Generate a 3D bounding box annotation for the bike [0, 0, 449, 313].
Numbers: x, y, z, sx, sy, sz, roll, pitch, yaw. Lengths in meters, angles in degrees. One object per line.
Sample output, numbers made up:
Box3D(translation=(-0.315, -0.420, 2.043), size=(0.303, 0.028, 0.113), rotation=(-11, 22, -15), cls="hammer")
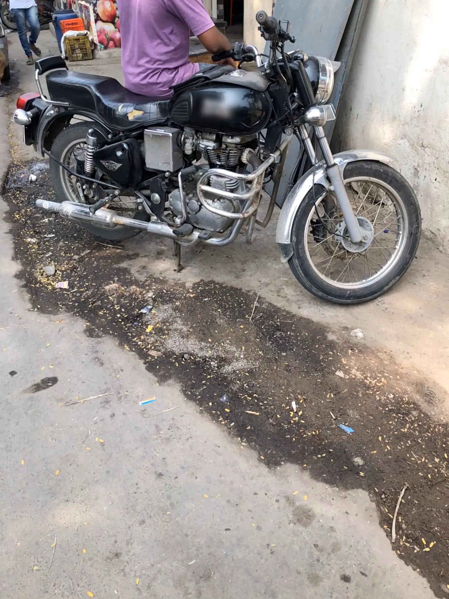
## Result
Box3D(translation=(-0.035, -0.785, 2.412), size=(1.918, 1.173, 0.844), rotation=(10, 34, 18), cls="bike")
